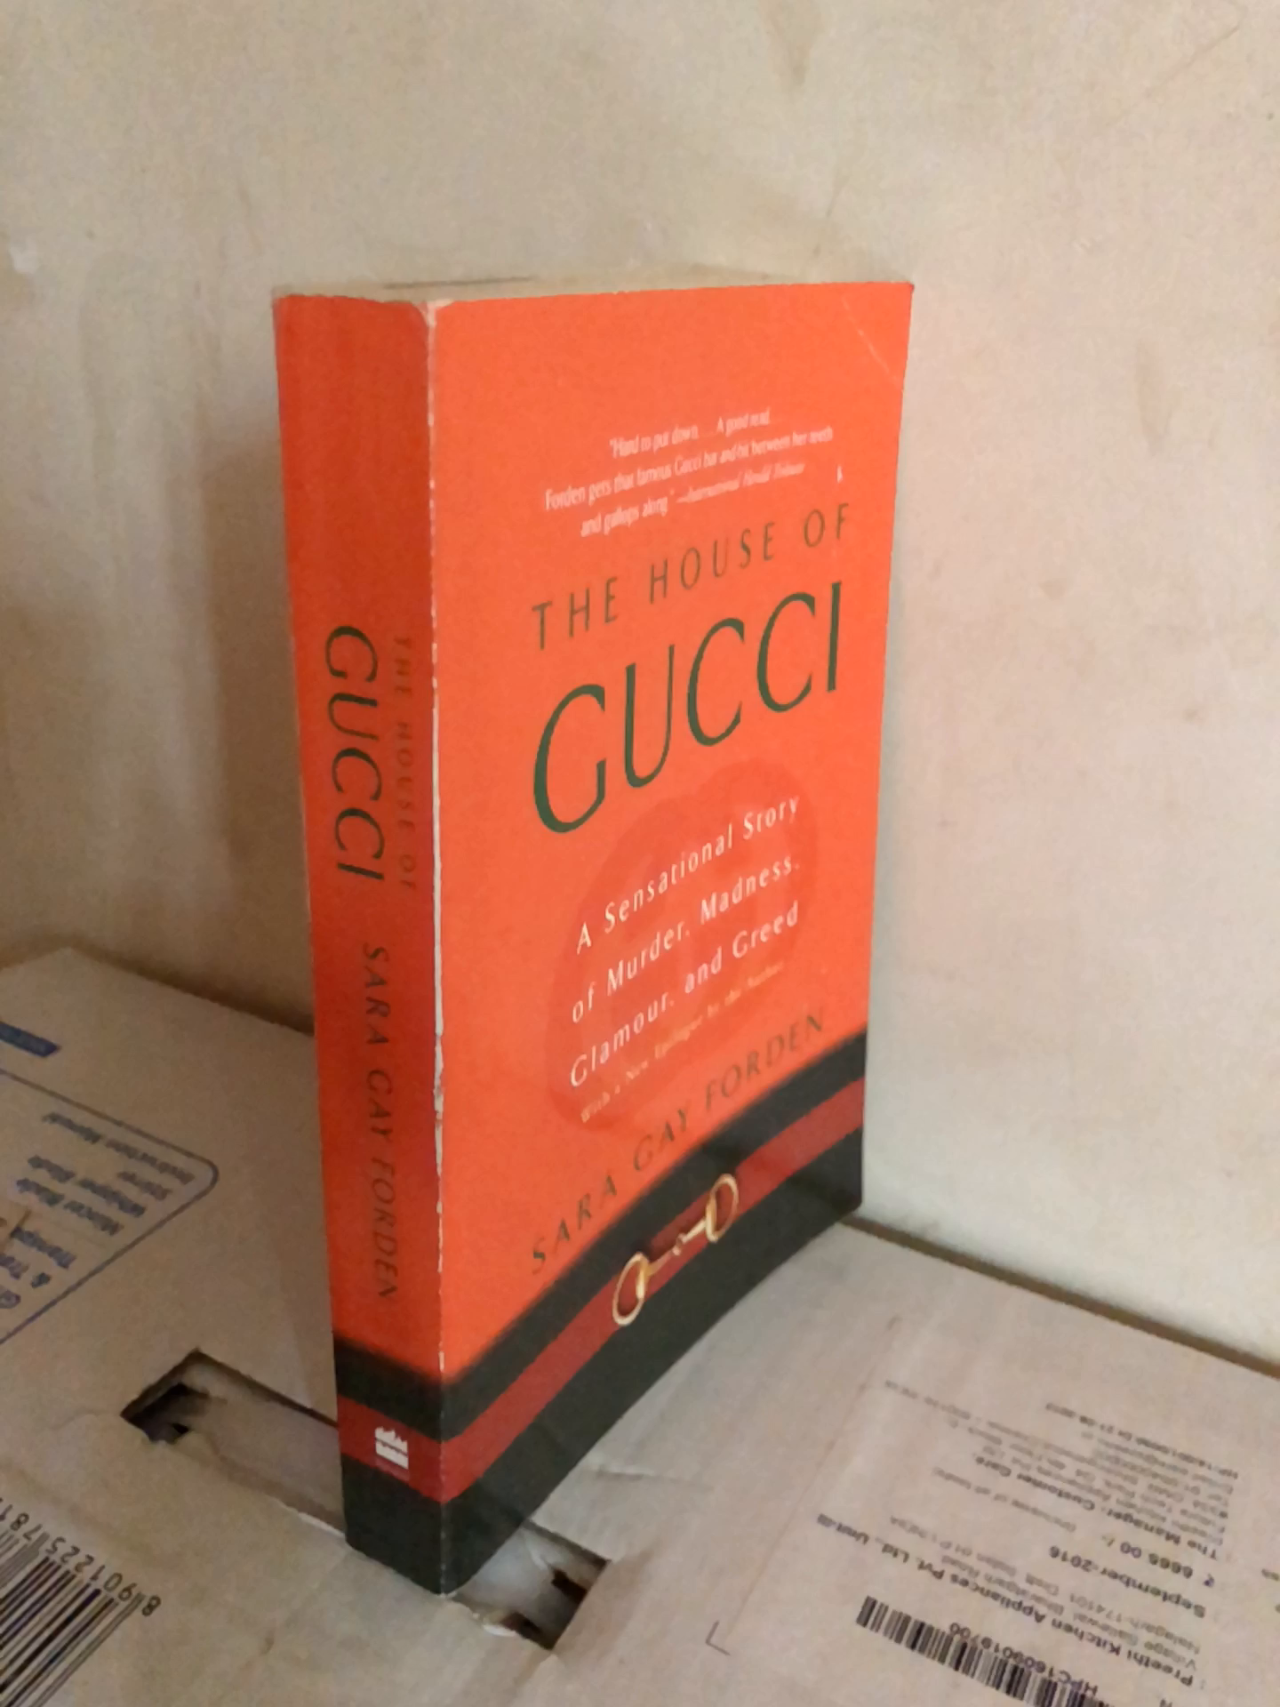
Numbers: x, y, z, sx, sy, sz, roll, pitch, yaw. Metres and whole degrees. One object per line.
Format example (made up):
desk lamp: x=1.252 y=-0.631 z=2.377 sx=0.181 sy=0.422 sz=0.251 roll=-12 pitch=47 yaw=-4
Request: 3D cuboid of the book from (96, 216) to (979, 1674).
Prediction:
book: x=0.000 y=0.002 z=0.284 sx=0.040 sy=0.229 sz=0.191 roll=17 pitch=30 yaw=28
